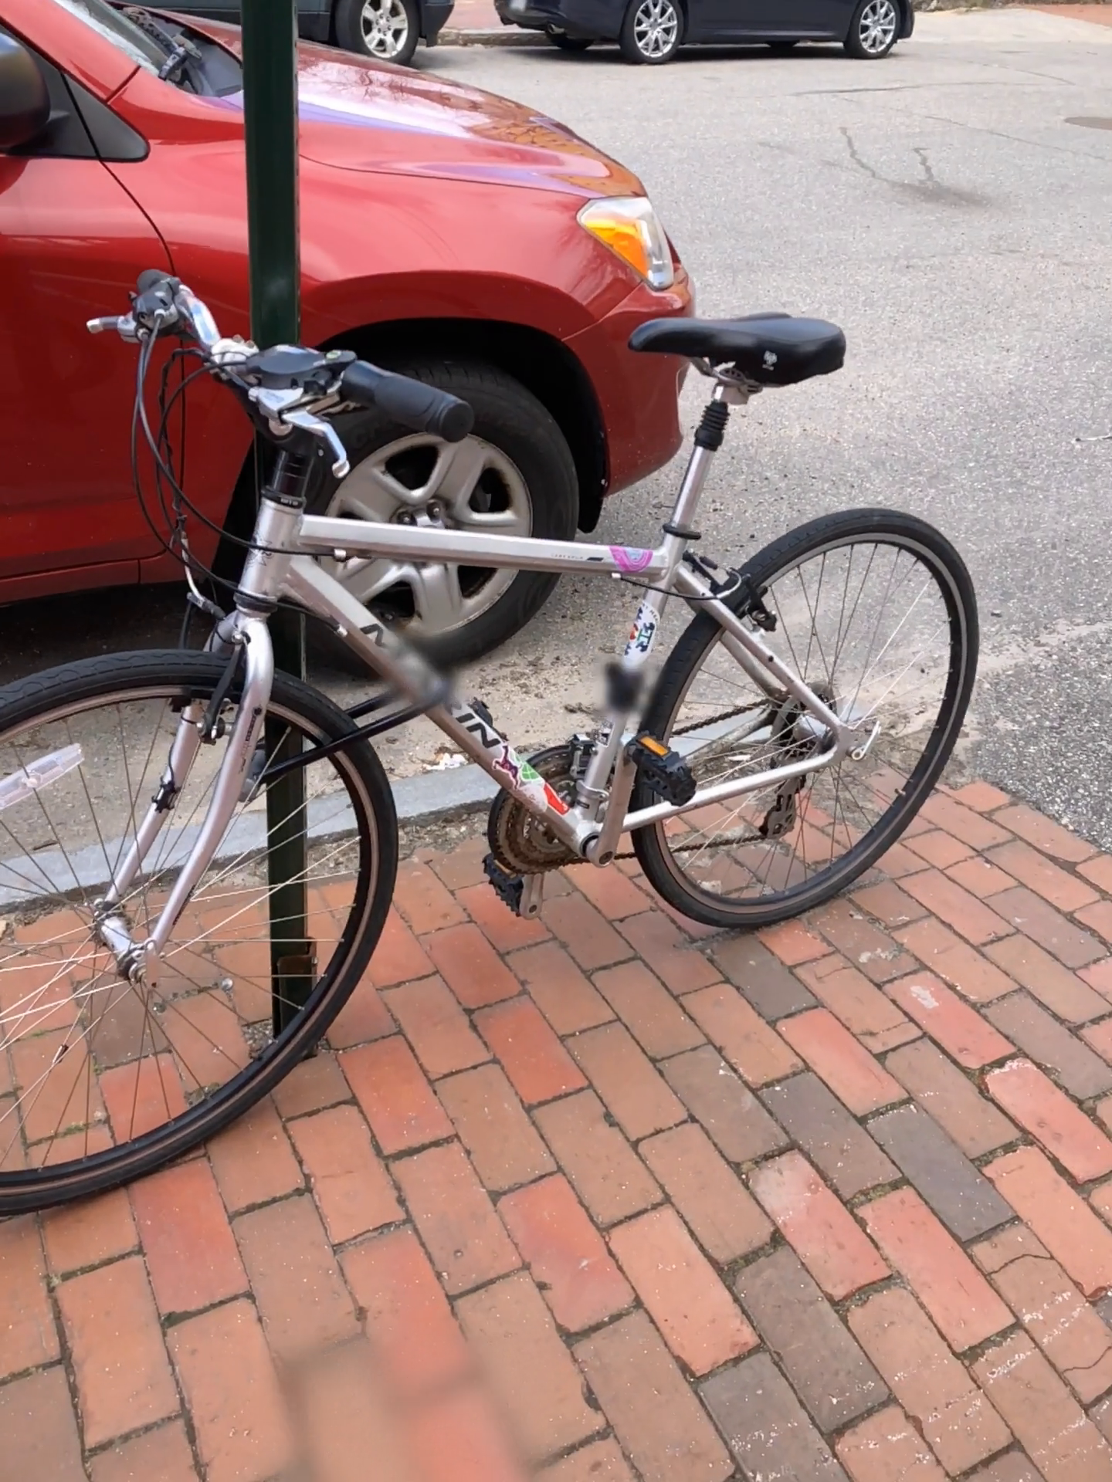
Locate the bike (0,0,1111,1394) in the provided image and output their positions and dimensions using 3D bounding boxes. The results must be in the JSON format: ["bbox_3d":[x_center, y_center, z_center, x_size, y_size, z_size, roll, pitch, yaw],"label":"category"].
[{"bbox_3d":[-0.086,-0.130,1.390,1.563,1.010,0.611,-14,39,-33],"label":"bike"}]
